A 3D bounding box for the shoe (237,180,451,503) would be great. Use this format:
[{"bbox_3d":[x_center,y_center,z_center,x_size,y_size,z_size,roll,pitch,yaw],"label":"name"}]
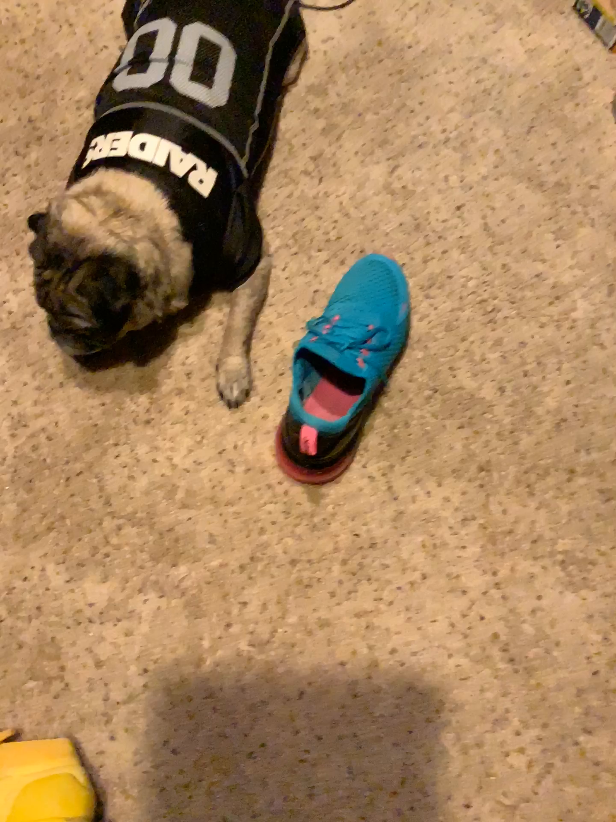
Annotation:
[{"bbox_3d":[0.046,-0.081,0.828,0.130,0.140,0.340,20,74,6],"label":"shoe"}]
